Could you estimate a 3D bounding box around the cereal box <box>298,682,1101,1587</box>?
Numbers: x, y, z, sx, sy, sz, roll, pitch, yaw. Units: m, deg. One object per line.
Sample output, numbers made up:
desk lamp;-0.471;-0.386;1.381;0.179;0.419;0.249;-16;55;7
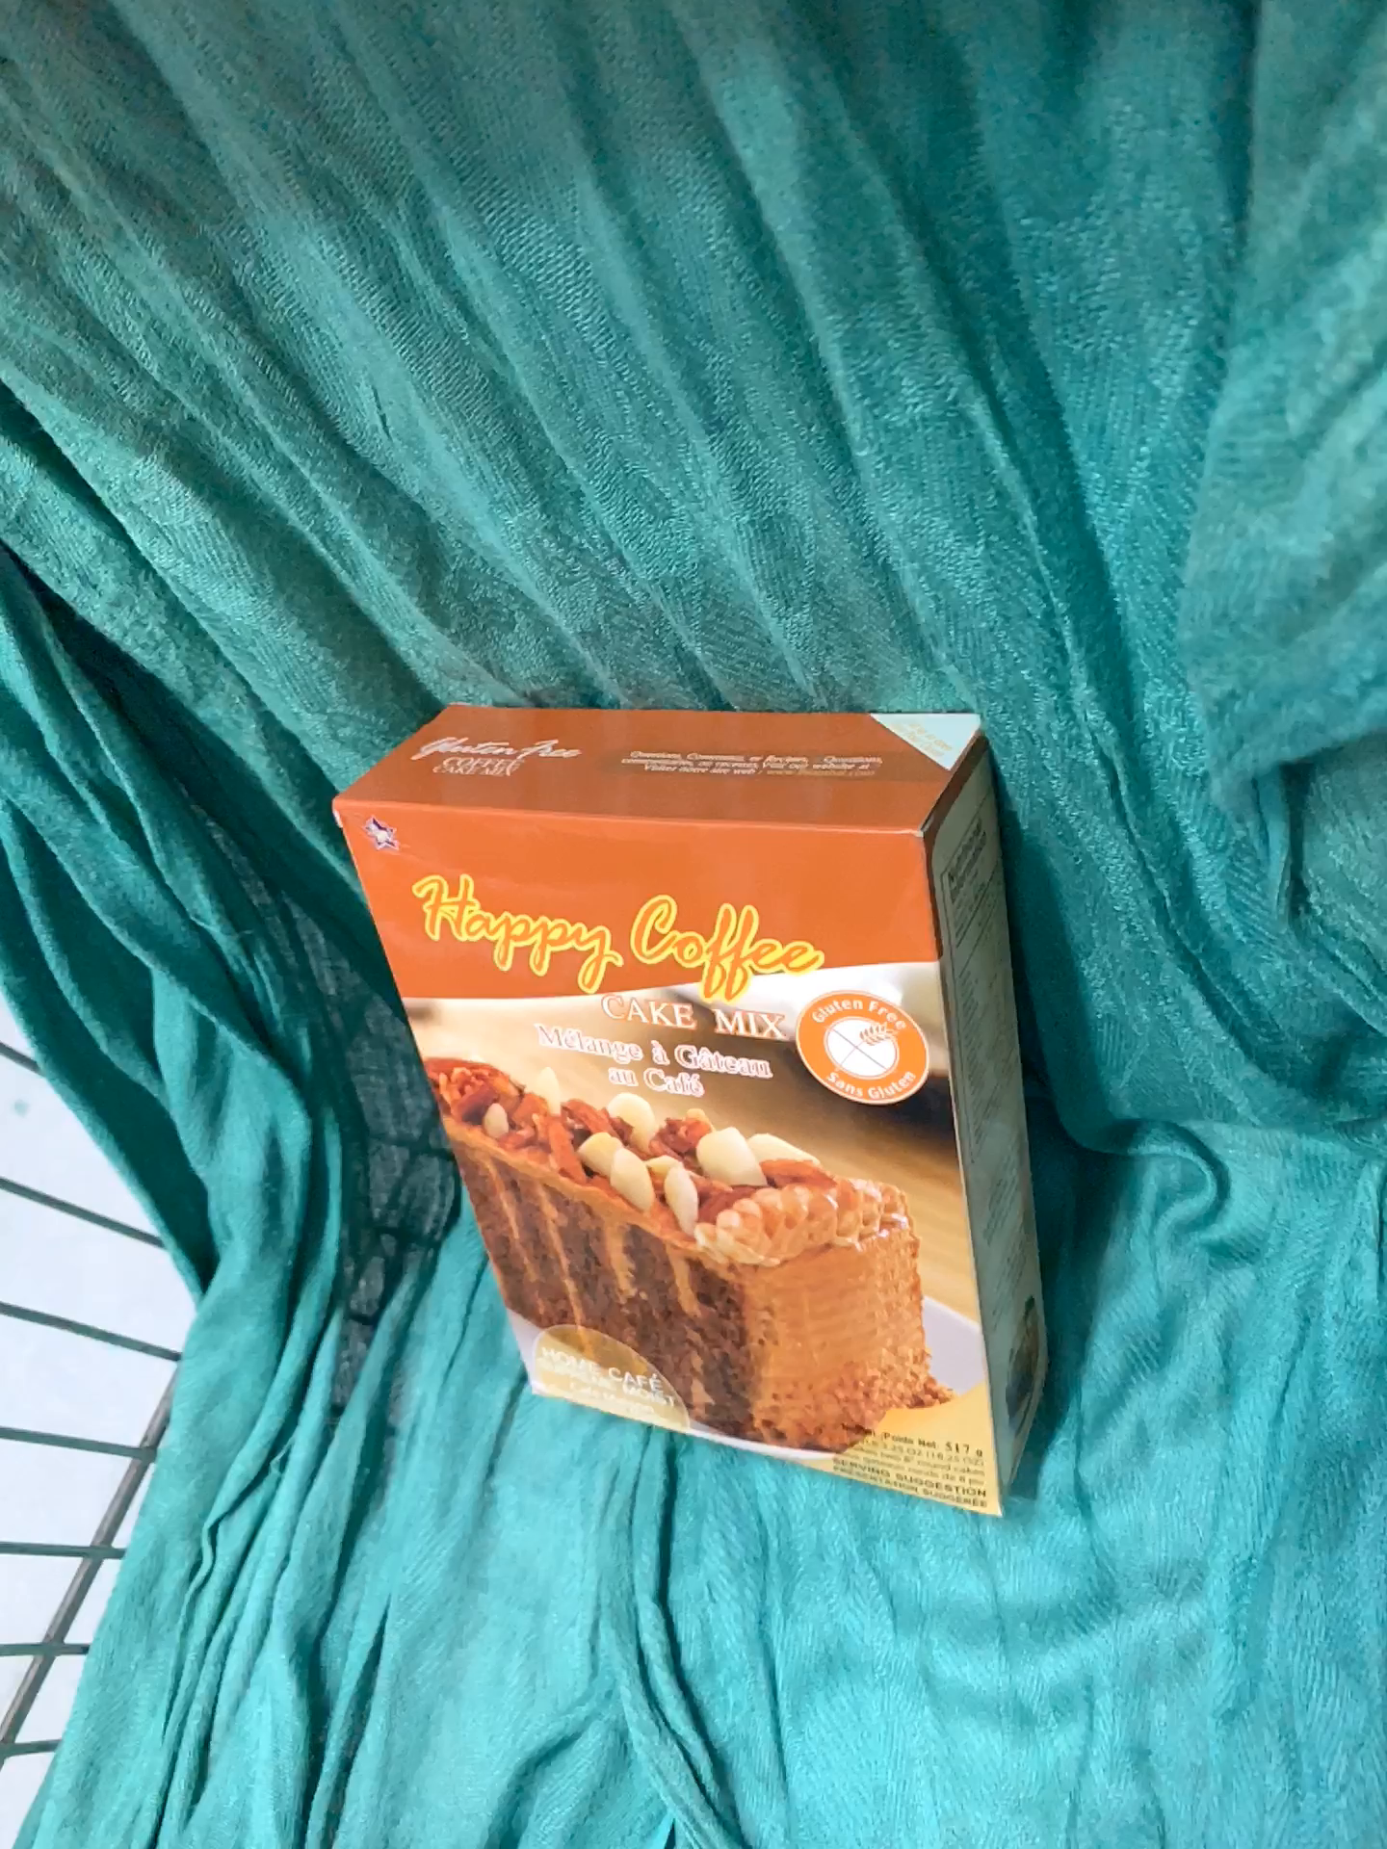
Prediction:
cereal box;0.012;0.050;0.341;0.150;0.209;0.050;5;34;27
